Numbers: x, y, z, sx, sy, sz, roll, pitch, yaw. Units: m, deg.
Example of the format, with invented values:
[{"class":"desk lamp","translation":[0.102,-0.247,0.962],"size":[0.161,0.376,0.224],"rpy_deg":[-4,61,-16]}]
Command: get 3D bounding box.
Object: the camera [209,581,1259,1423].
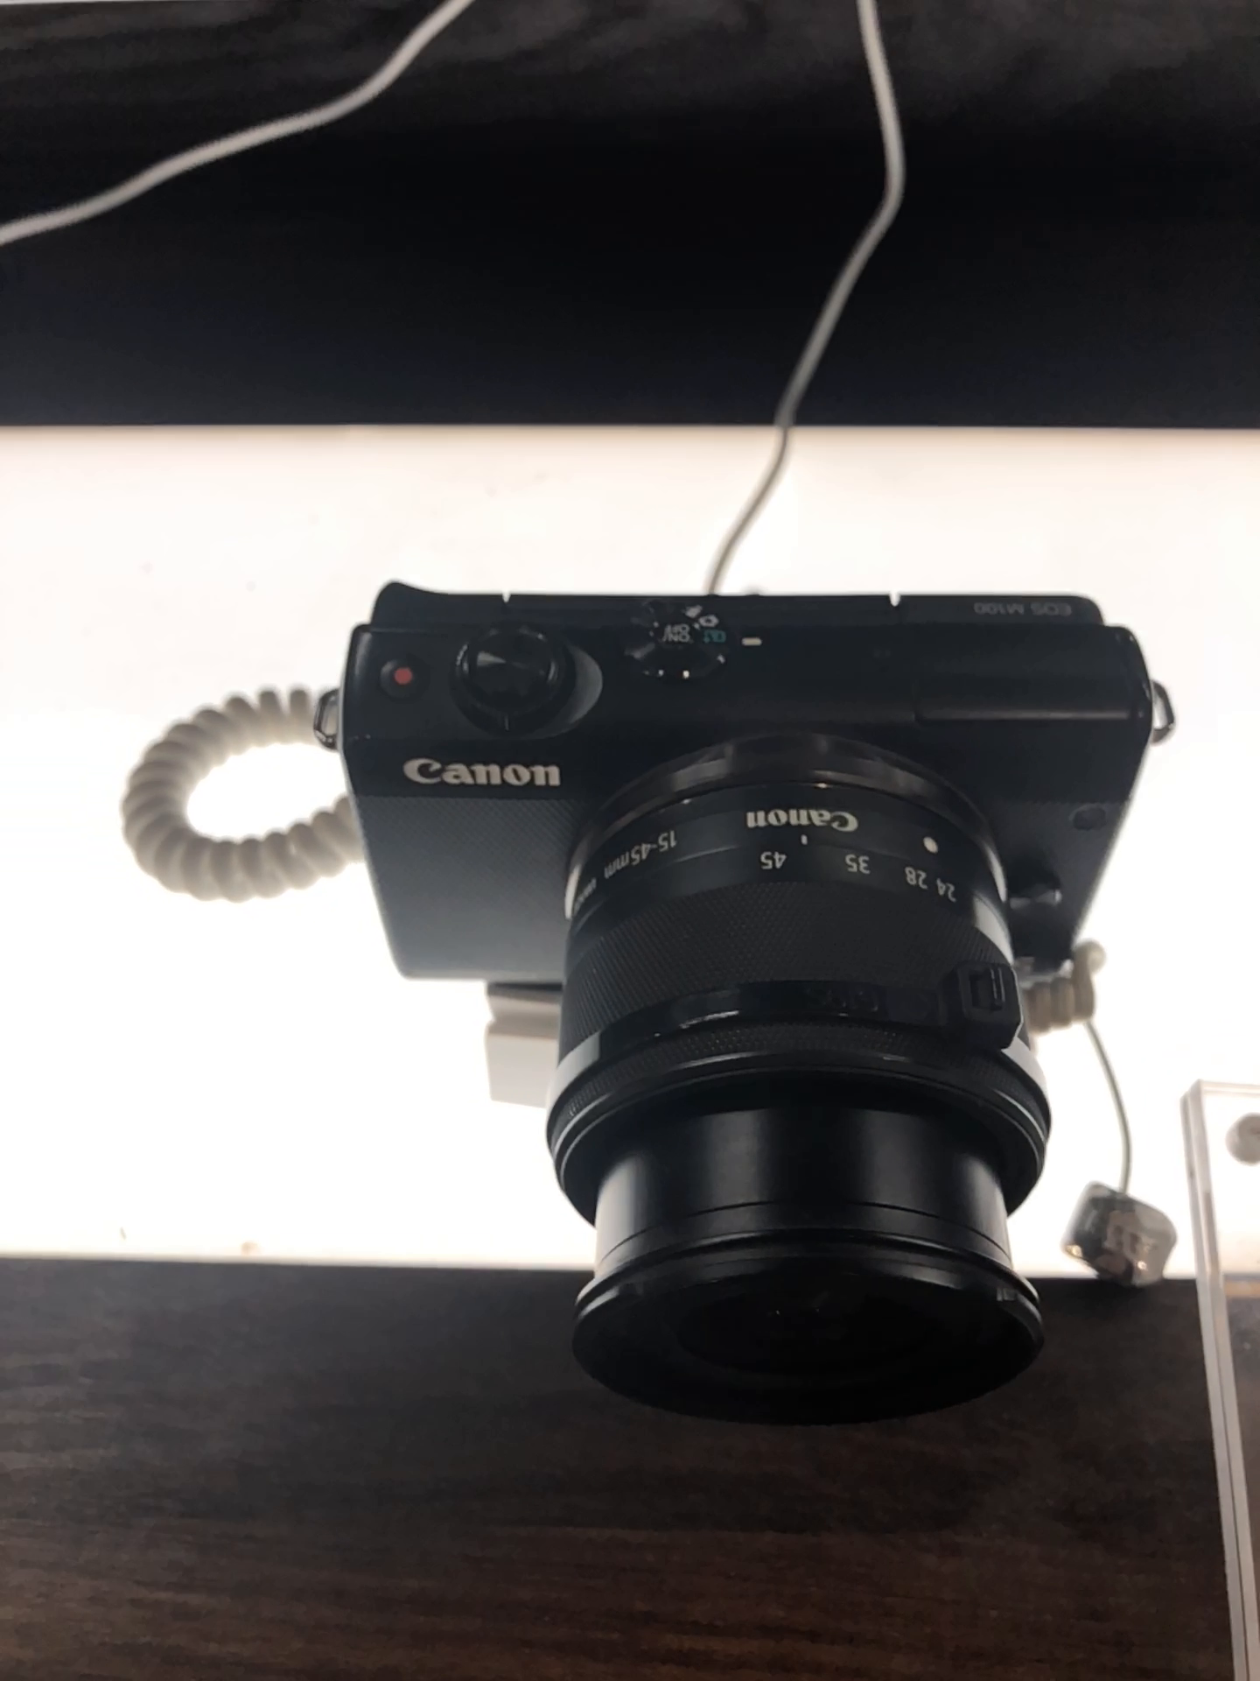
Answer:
[{"class":"camera","translation":[0.015,0.020,0.203],"size":[0.112,0.071,0.094],"rpy_deg":[1,46,2]}]
